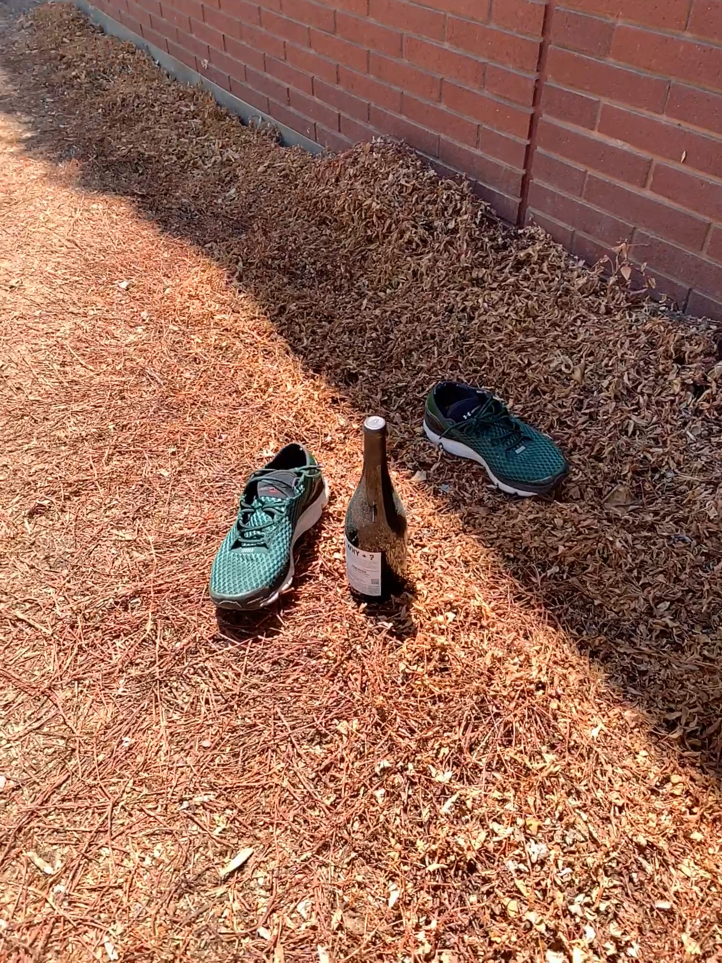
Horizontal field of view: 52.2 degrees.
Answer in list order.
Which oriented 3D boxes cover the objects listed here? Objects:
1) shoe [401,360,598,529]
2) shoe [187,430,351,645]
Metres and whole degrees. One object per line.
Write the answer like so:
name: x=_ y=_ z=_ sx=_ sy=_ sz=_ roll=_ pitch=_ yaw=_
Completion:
shoe: x=0.212 y=-0.068 z=1.193 sx=0.110 sy=0.109 sz=0.301 roll=-34 pitch=52 yaw=-30
shoe: x=-0.114 y=0.067 z=1.021 sx=0.110 sy=0.109 sz=0.281 roll=13 pitch=45 yaw=14
